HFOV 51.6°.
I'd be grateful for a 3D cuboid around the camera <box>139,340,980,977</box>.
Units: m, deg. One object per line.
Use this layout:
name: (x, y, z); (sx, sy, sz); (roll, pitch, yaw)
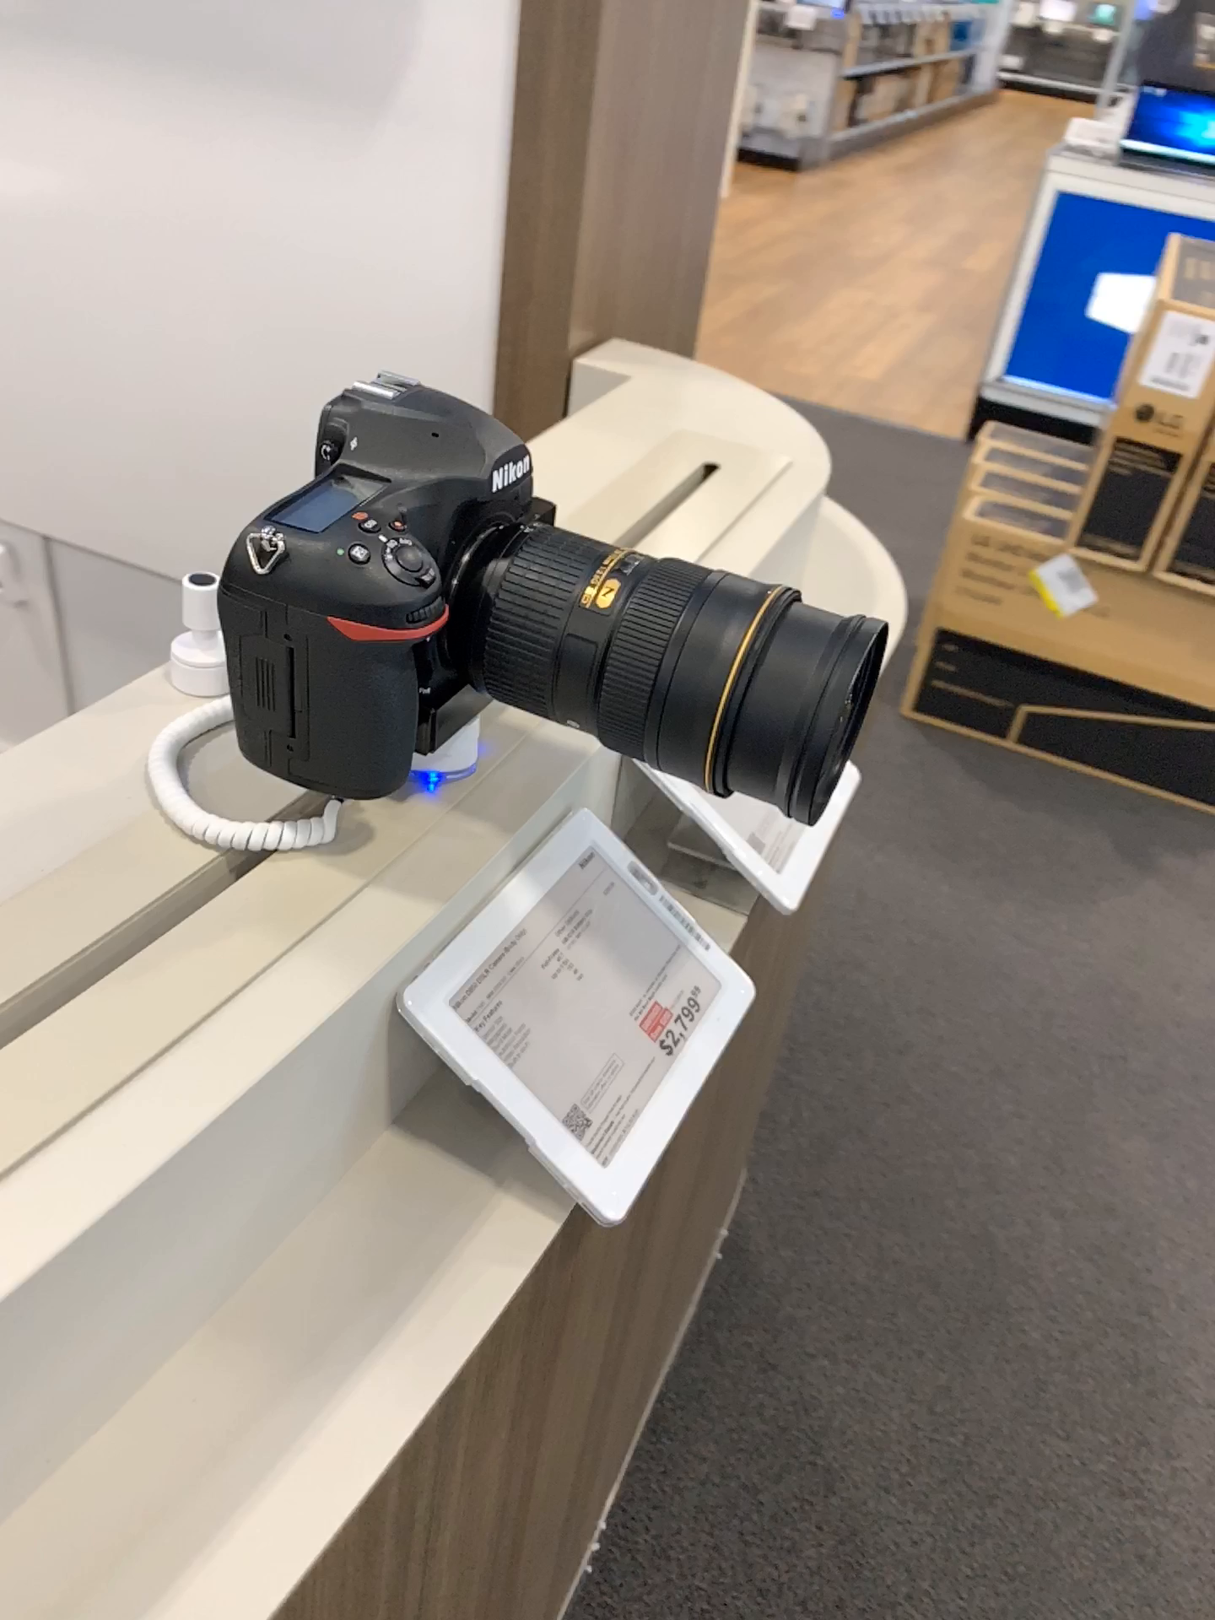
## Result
camera: (-0.012, -0.070, 0.454); (0.240, 0.109, 0.161); (19, 36, 15)
